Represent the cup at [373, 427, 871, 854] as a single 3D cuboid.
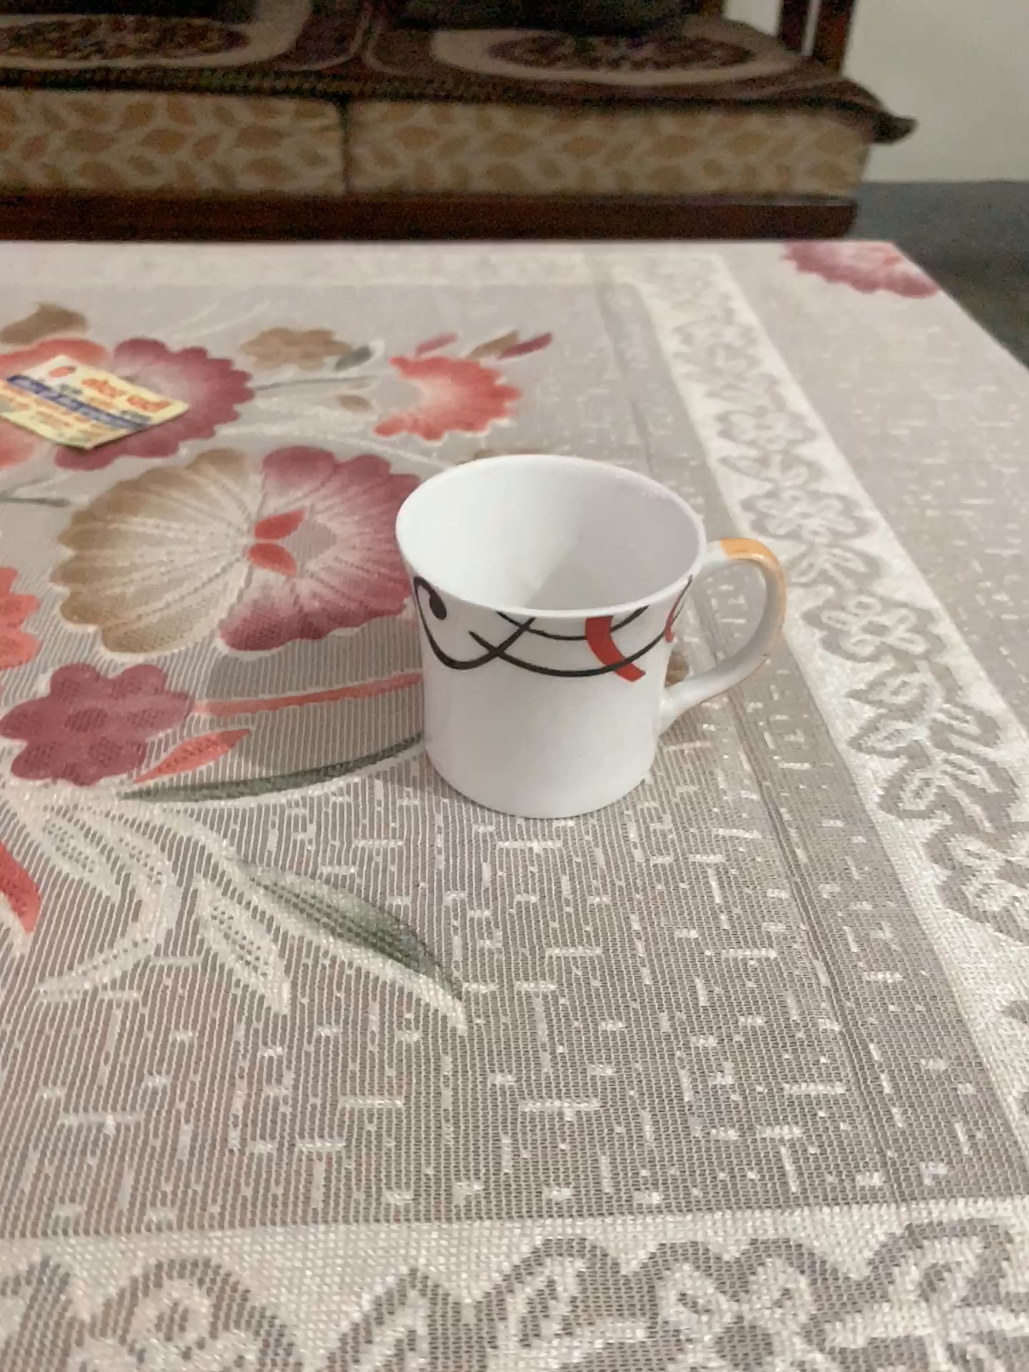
[{"bbox_3d":[0.017,-0.013,0.243,0.090,0.060,0.070,-5,40,-8],"label":"cup"}]
